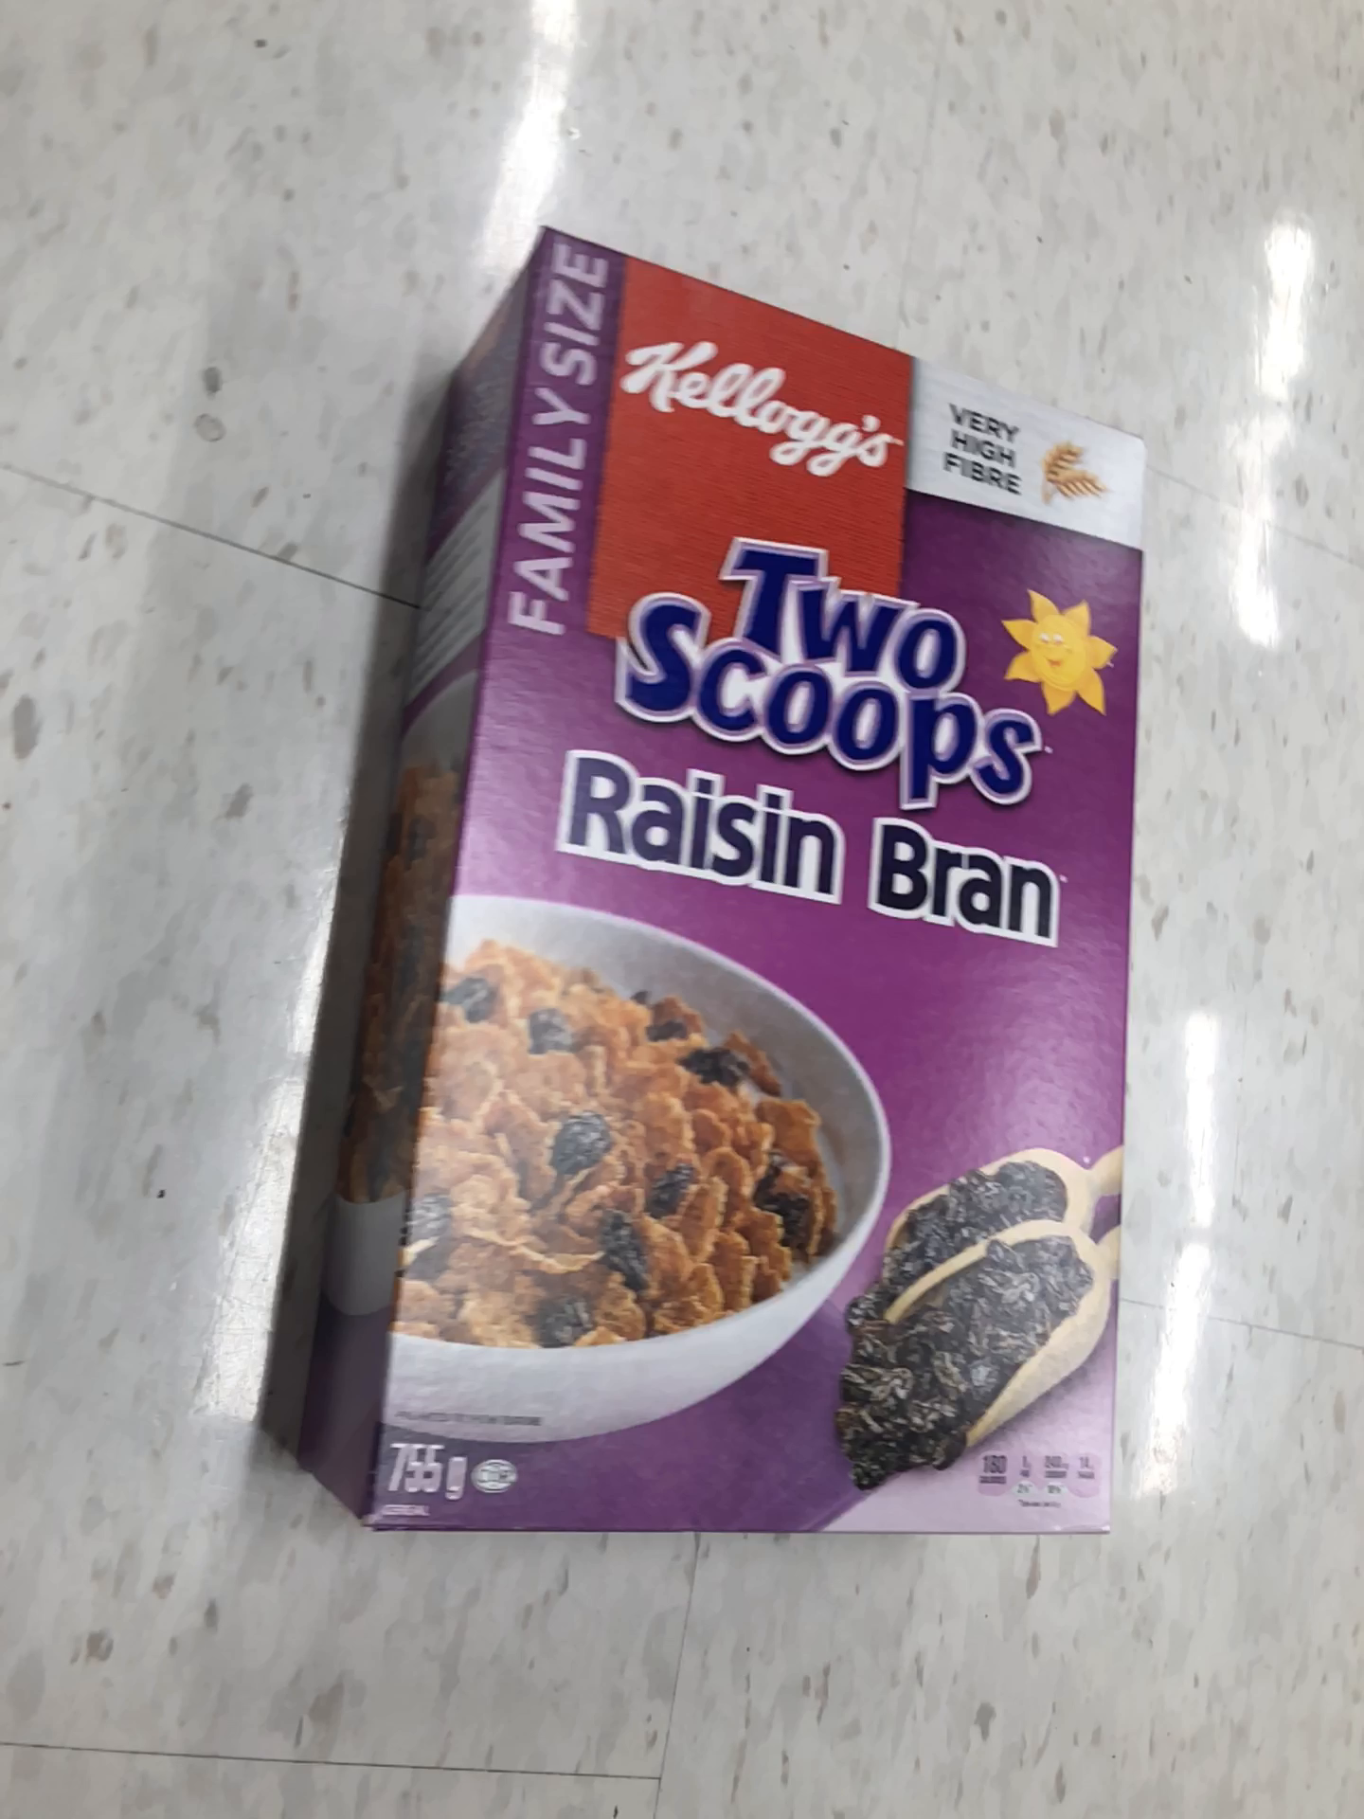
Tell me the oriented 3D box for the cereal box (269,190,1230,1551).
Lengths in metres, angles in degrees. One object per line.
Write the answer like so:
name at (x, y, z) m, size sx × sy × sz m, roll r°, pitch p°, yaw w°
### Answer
cereal box at (0.031, 0.001, 0.398) m, size 0.221 × 0.080 × 0.300 m, roll 10°, pitch 76°, yaw -23°
